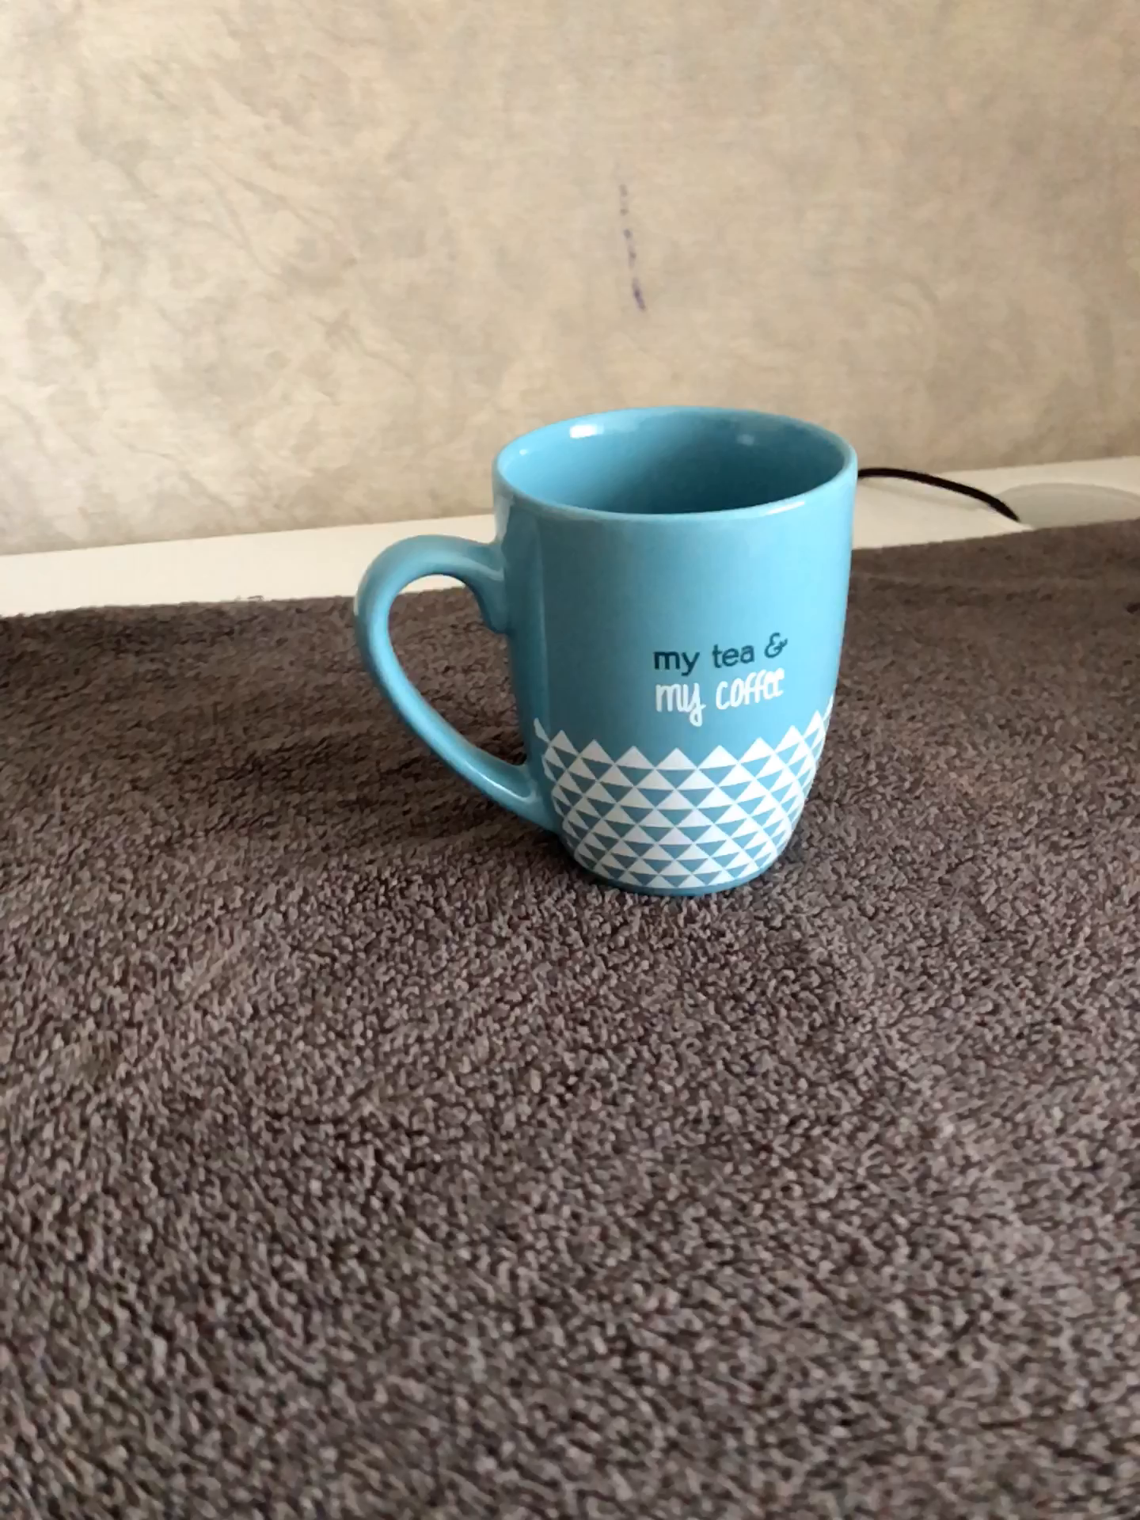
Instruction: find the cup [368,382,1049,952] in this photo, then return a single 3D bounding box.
[{"bbox_3d":[0.026,-0.029,0.298,0.126,0.089,0.087,-9,30,-13],"label":"cup"}]
